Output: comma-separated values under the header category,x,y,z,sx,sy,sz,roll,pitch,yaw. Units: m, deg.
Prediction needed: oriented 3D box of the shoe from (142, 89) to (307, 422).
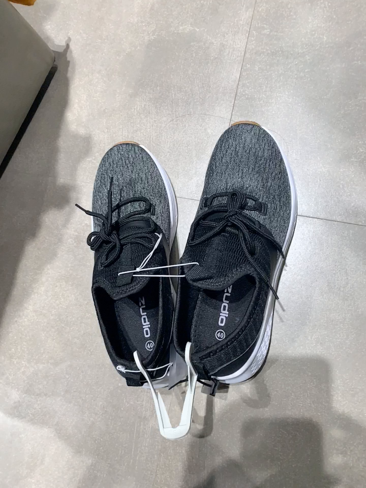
category,x,y,z,sx,sy,sz,roll,pitch,yaw
shoe,0.048,0.004,0.369,0.107,0.096,0.278,7,83,15

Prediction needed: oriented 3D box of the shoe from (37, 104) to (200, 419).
category,x,y,z,sx,sy,sz,roll,pitch,yaw
shoe,-0.066,0.017,0.393,0.106,0.096,0.278,-12,79,12
